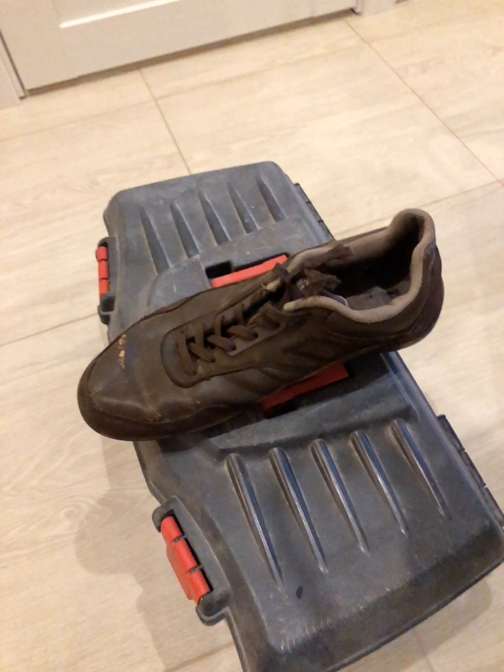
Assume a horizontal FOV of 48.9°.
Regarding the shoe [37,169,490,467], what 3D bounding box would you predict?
[{"bbox_3d":[0.006,-0.015,0.410,0.280,0.100,0.110,-17,57,-7],"label":"shoe"}]
